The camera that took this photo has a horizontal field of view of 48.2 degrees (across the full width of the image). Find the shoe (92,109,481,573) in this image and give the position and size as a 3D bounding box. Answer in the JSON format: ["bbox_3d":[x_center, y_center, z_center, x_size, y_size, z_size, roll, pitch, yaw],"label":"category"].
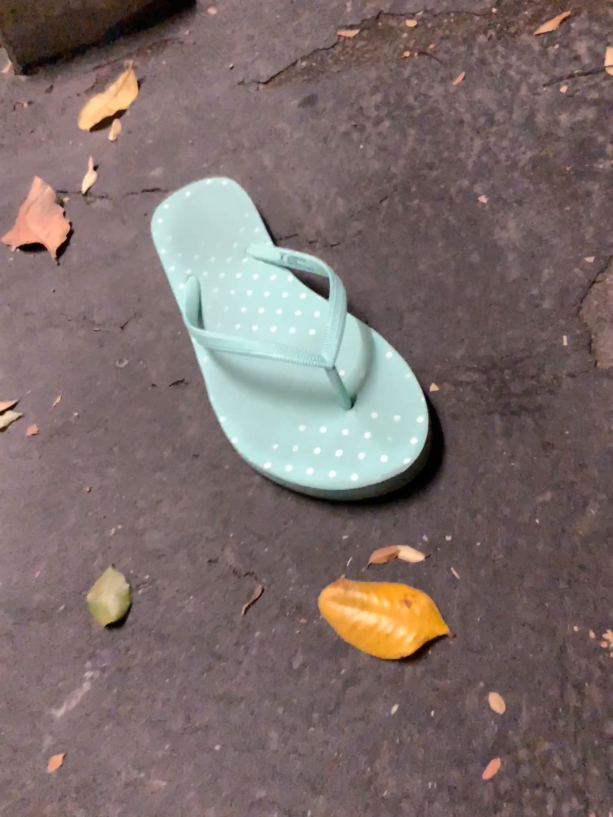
[{"bbox_3d":[-0.026,-0.059,0.408,0.120,0.050,0.280,-27,58,-4],"label":"shoe"}]
